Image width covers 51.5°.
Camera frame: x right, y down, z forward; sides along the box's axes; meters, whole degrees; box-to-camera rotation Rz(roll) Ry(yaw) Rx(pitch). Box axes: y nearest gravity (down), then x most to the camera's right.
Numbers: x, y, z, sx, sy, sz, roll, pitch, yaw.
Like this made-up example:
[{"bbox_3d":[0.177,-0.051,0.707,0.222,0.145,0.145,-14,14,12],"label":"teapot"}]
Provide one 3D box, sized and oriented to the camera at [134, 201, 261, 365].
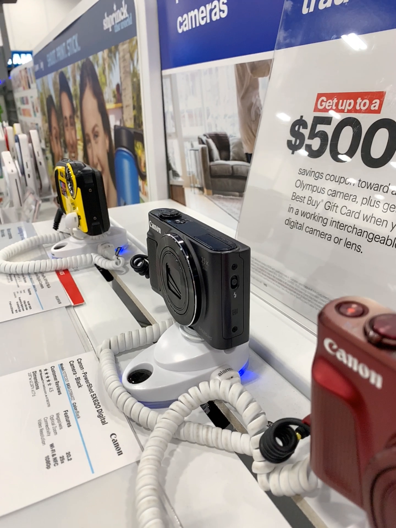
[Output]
[{"bbox_3d":[-0.005,0.004,0.243,0.030,0.060,0.100,-12,24,-24],"label":"camera"}]
